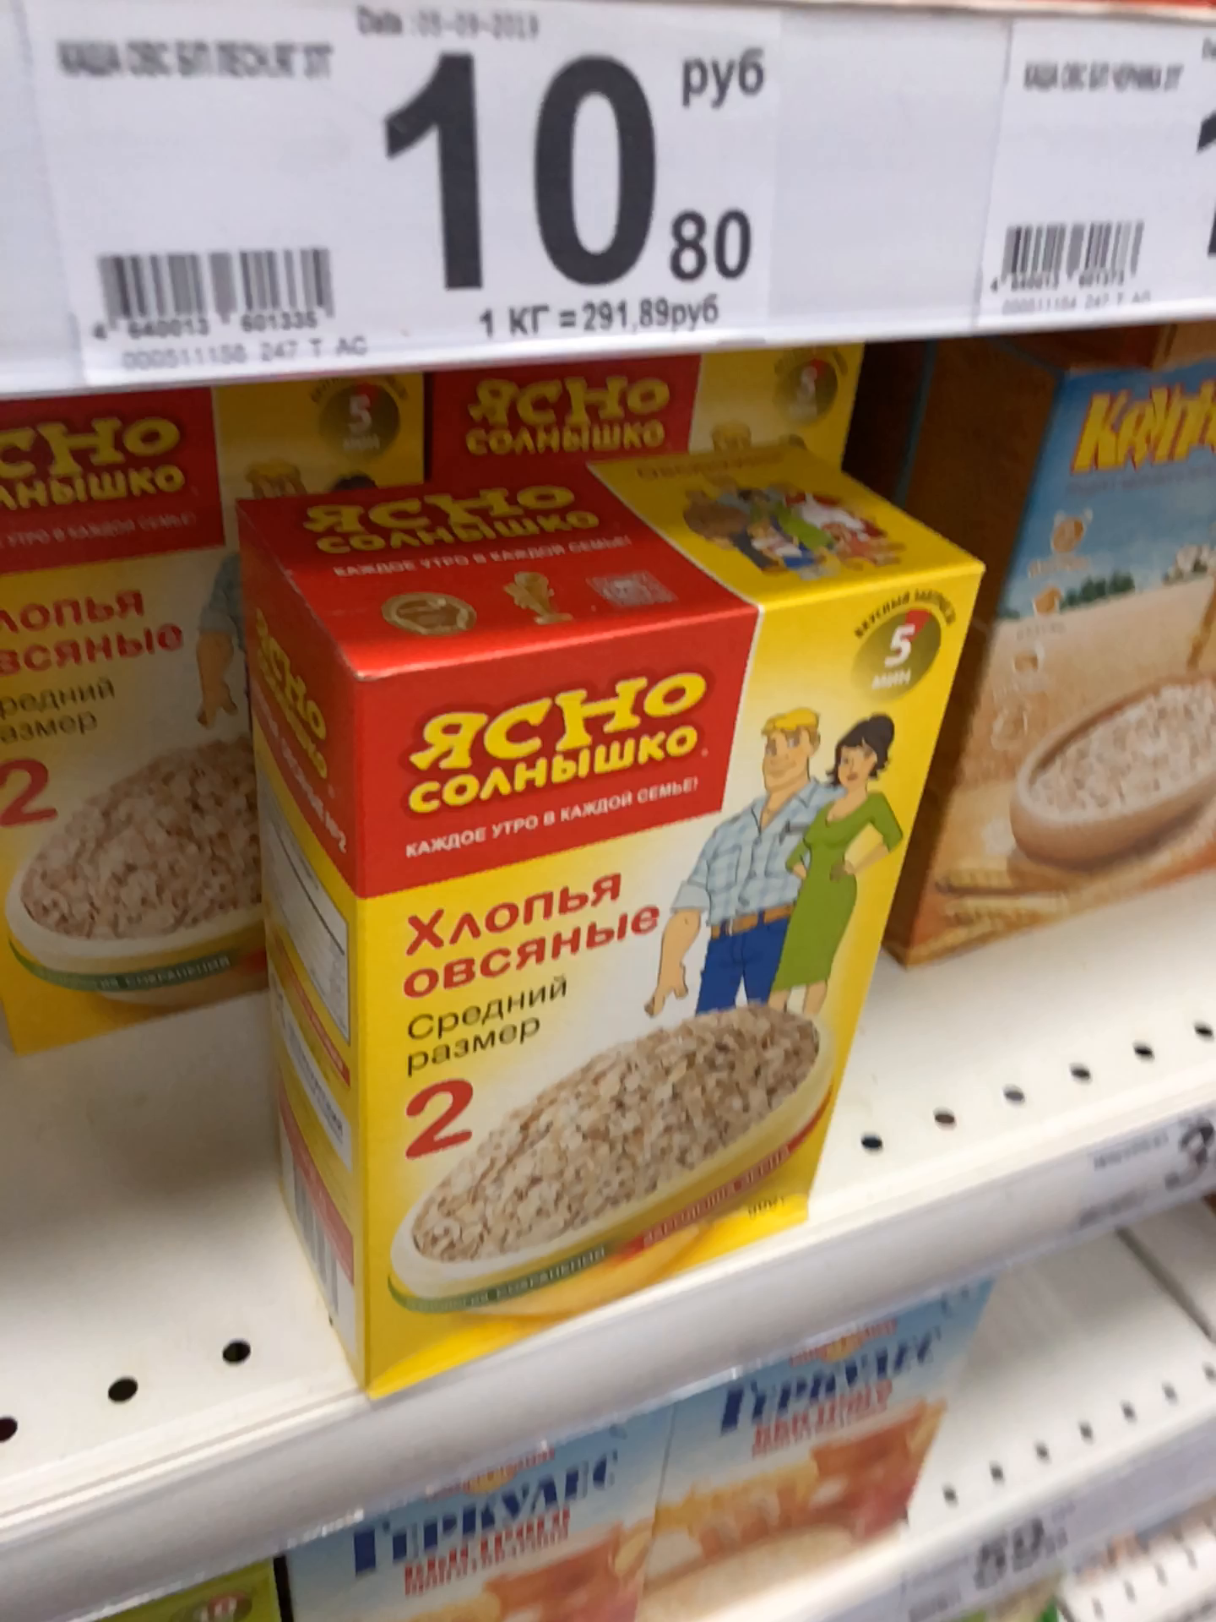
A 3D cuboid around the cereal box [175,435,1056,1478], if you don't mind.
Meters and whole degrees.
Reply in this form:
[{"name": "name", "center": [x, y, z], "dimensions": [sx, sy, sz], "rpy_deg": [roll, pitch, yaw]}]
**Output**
[{"name": "cereal box", "center": [-0.006, 0.032, 0.279], "dimensions": [0.130, 0.189, 0.070], "rpy_deg": [-12, 39, -23]}]
